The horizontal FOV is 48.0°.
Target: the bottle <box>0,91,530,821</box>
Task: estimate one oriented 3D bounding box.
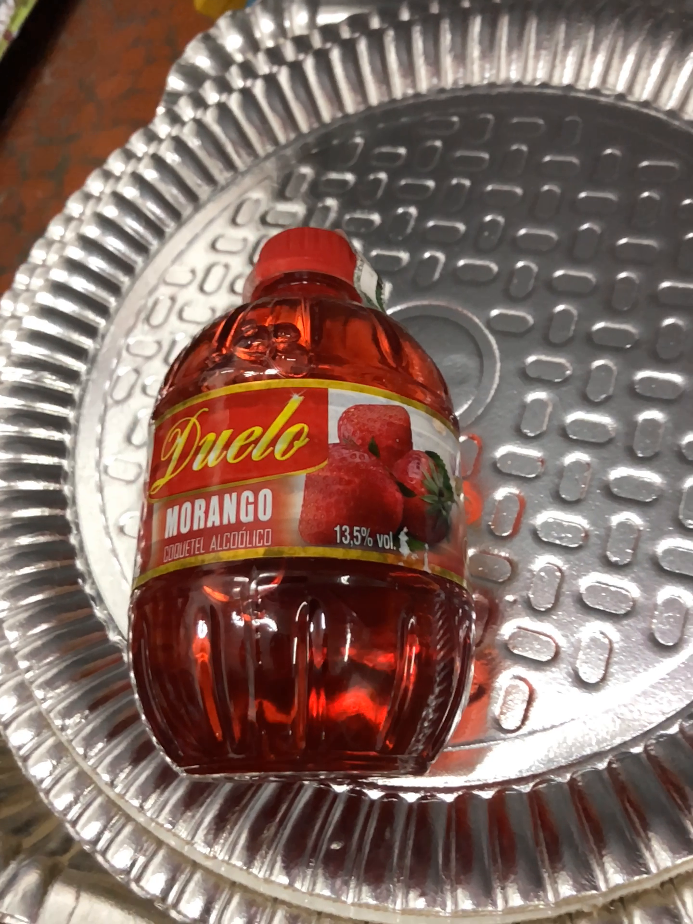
[{"bbox_3d":[-0.012,0.003,0.190,0.090,0.070,0.150,-7,66,15],"label":"bottle"}]
